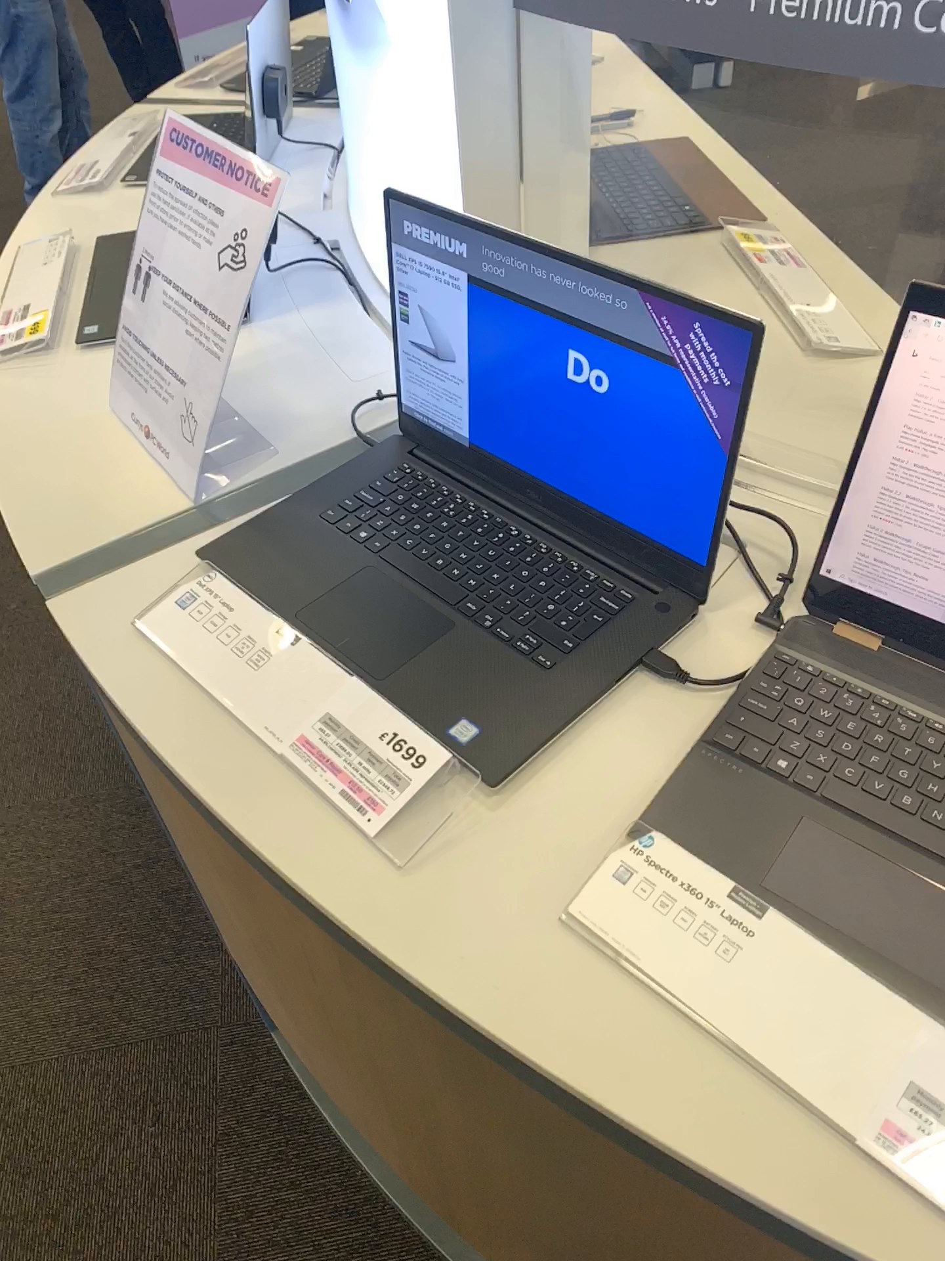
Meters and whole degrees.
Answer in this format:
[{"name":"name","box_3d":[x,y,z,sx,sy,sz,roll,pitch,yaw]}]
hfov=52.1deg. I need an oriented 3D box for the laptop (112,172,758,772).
[{"name":"laptop","box_3d":[-0.028,-0.139,0.706,0.352,0.224,0.254,34,56,32]}]
